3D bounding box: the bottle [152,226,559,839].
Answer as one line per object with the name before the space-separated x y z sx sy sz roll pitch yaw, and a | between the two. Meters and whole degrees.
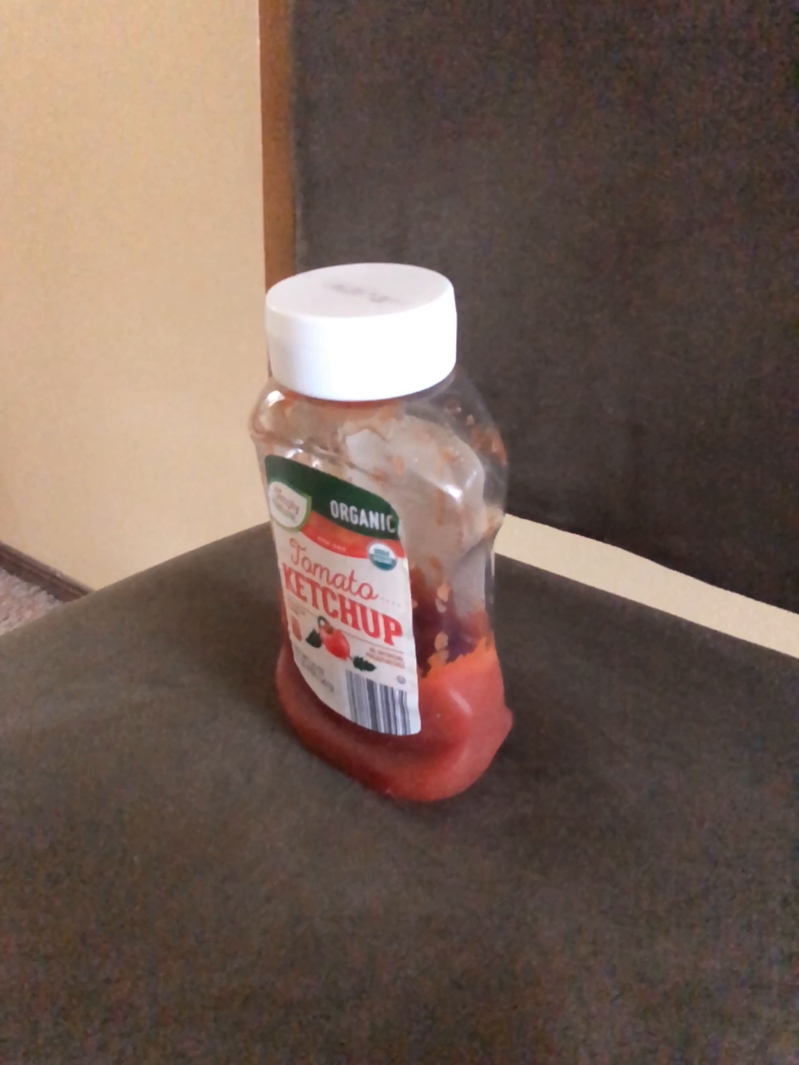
bottle | -0.010 -0.001 0.290 0.100 0.170 0.060 23 40 36
